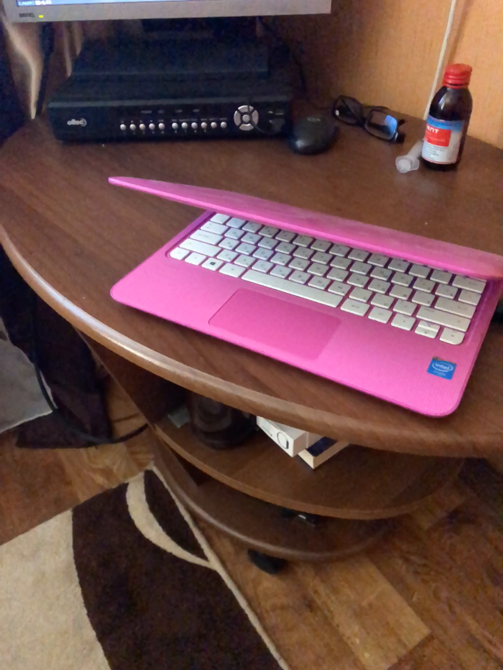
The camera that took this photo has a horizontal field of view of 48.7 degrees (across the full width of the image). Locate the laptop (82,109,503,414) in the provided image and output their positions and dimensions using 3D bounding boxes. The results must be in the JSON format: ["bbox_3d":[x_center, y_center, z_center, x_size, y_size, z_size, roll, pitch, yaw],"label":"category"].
[{"bbox_3d":[0.047,-0.079,0.413,0.264,0.081,0.187,19,45,23],"label":"laptop"}]
